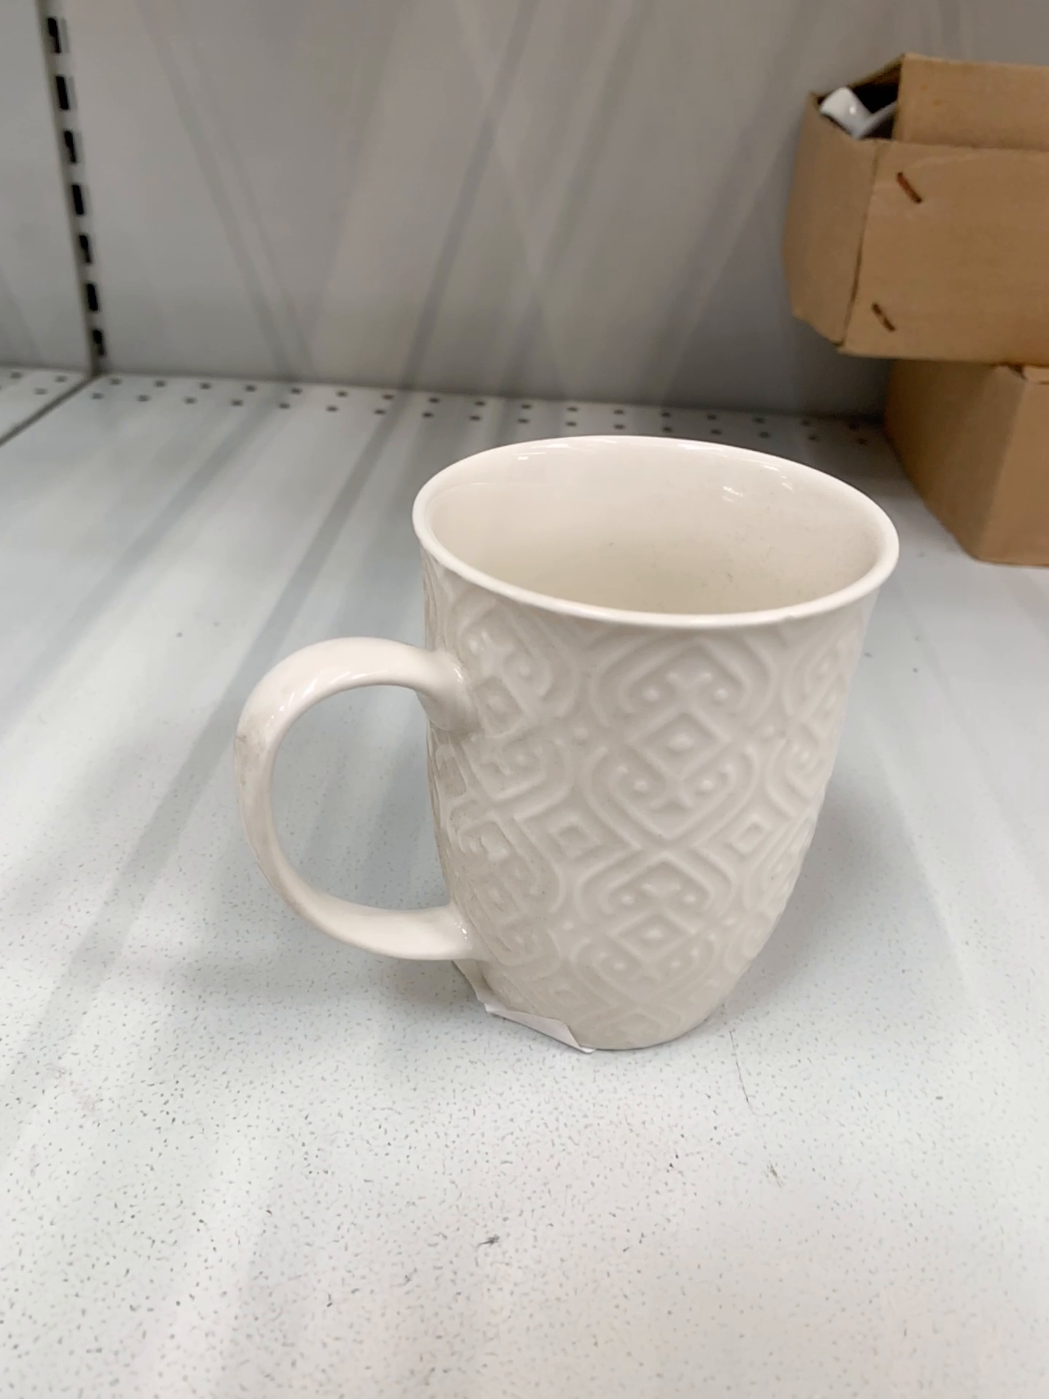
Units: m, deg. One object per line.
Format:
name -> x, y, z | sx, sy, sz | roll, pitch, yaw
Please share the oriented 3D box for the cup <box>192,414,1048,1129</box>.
cup -> 0.011, 0.006, 0.216 | 0.131, 0.098, 0.092 | -3, 32, -10
